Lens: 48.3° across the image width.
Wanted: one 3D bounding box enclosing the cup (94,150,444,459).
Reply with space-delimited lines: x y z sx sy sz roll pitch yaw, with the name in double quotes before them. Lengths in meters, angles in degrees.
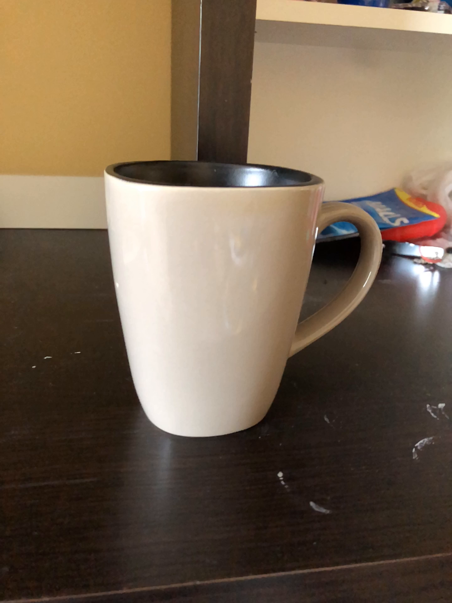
"cup" 0.006 -0.009 0.245 0.130 0.110 0.100 -3 23 -15
